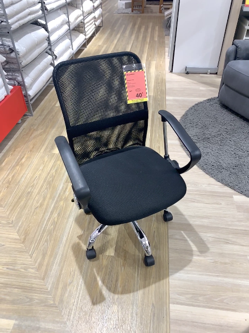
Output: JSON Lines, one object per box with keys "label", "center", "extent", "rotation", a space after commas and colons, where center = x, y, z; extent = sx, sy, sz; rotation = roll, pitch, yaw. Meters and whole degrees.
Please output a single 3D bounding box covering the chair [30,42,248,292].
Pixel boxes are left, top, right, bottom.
{"label": "chair", "center": [0.026, -0.017, 1.209], "extent": [0.641, 0.865, 0.603], "rotation": [-16, 42, -18]}
